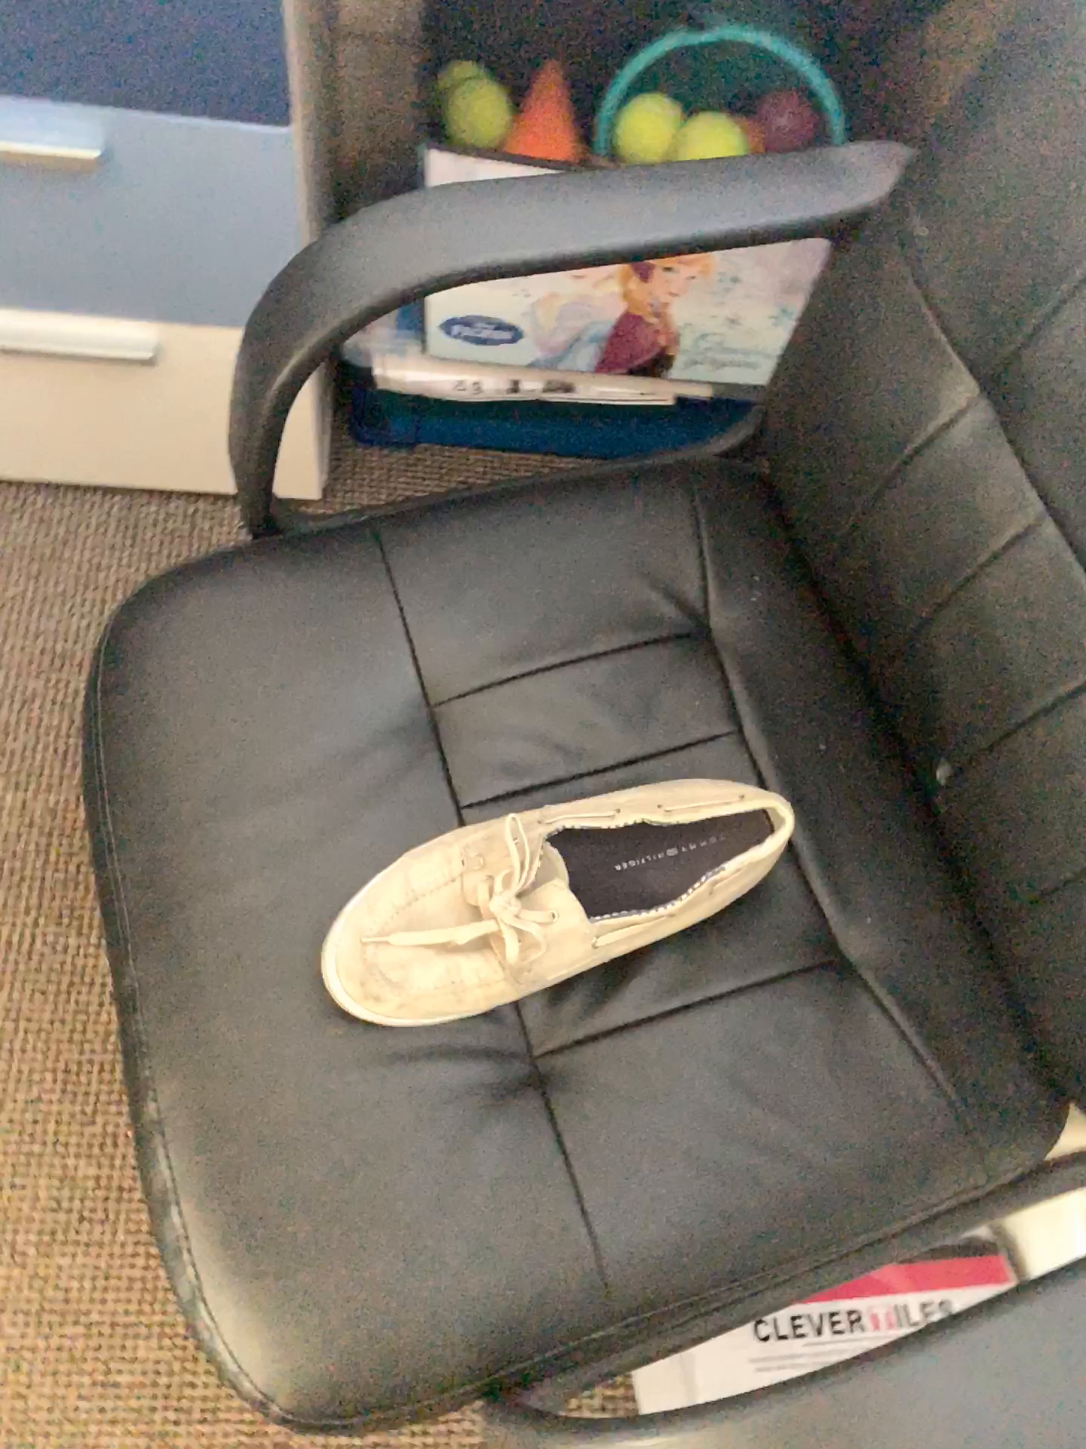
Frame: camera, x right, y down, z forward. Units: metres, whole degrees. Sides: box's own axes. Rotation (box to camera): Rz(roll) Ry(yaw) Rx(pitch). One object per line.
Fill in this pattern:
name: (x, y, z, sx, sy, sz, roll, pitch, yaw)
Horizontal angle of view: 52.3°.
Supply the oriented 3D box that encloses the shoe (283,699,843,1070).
shoe: (0.010, 0.083, 0.595, 0.270, 0.070, 0.100, -18, 71, -14)
